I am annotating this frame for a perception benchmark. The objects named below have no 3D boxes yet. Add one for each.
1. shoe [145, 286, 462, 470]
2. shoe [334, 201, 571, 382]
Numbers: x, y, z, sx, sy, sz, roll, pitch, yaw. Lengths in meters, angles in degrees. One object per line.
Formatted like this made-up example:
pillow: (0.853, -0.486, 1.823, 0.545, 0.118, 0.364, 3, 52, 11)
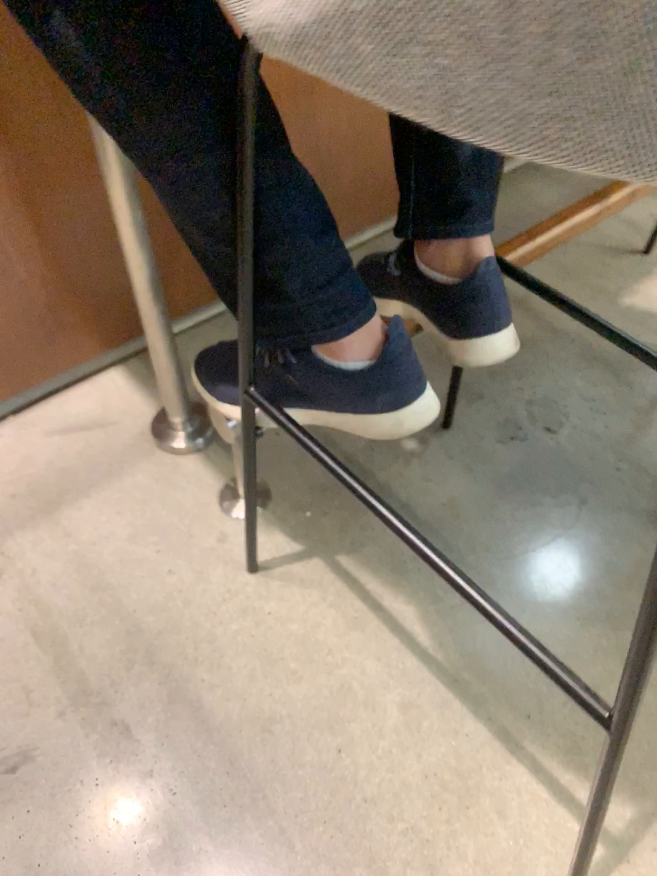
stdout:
shoe: (-0.027, -0.074, 0.714, 0.299, 0.093, 0.124, 13, 45, 28)
shoe: (0.130, -0.191, 0.821, 0.129, 0.093, 0.301, -17, 38, -19)
